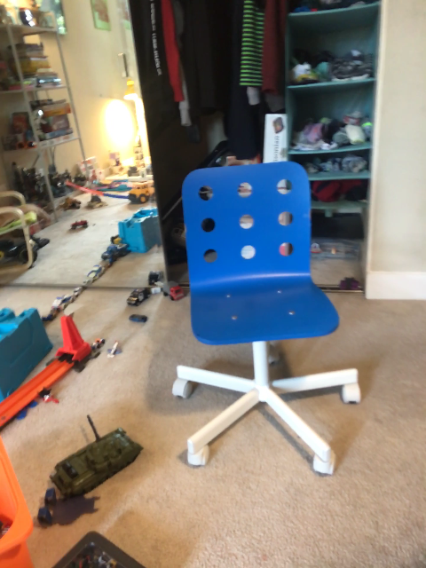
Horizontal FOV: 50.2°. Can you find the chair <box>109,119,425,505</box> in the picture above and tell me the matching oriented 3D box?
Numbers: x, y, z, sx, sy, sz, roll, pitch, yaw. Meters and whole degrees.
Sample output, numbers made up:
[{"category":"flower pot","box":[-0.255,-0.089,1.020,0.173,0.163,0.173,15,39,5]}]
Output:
[{"category":"chair","box":[0.103,0.041,1.024,0.520,0.705,0.362,-8,24,-6]}]
